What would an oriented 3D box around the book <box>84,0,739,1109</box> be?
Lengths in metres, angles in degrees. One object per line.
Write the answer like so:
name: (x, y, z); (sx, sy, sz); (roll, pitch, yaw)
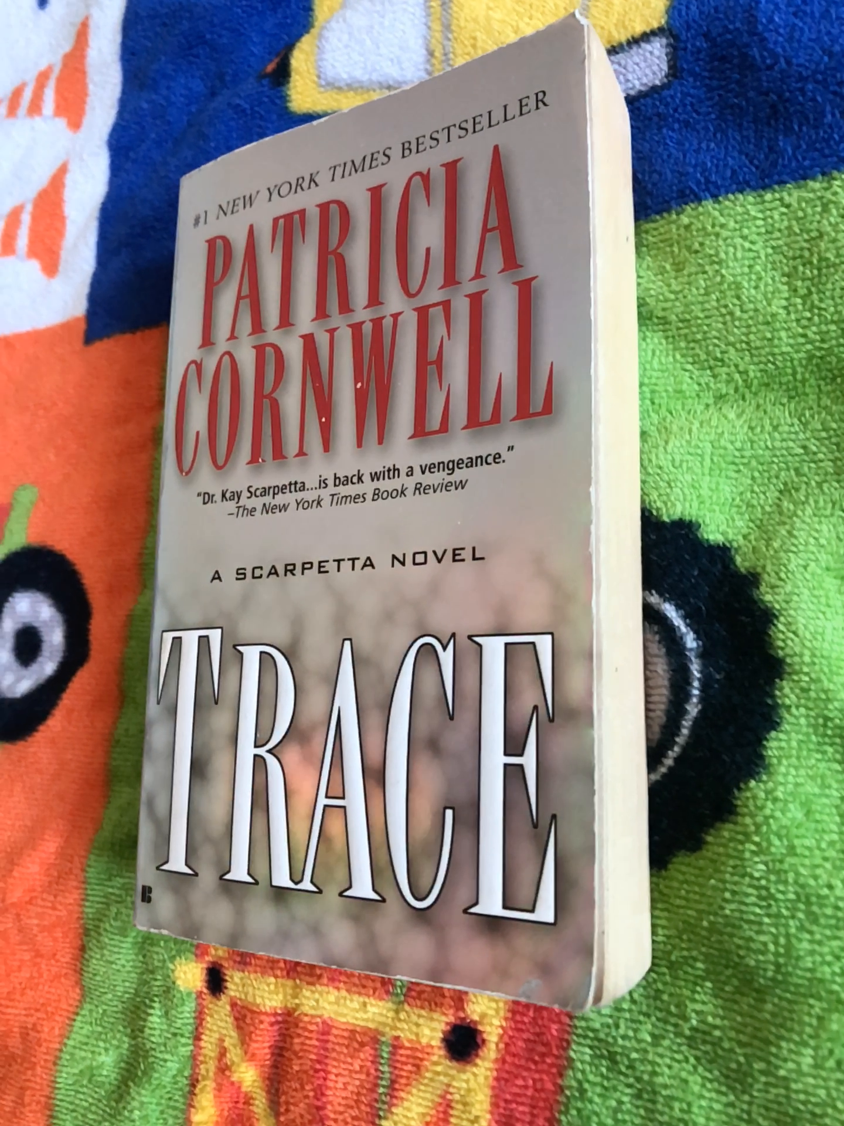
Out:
book: (-0.004, -0.009, 0.191); (0.120, 0.040, 0.180); (-4, 78, 33)
